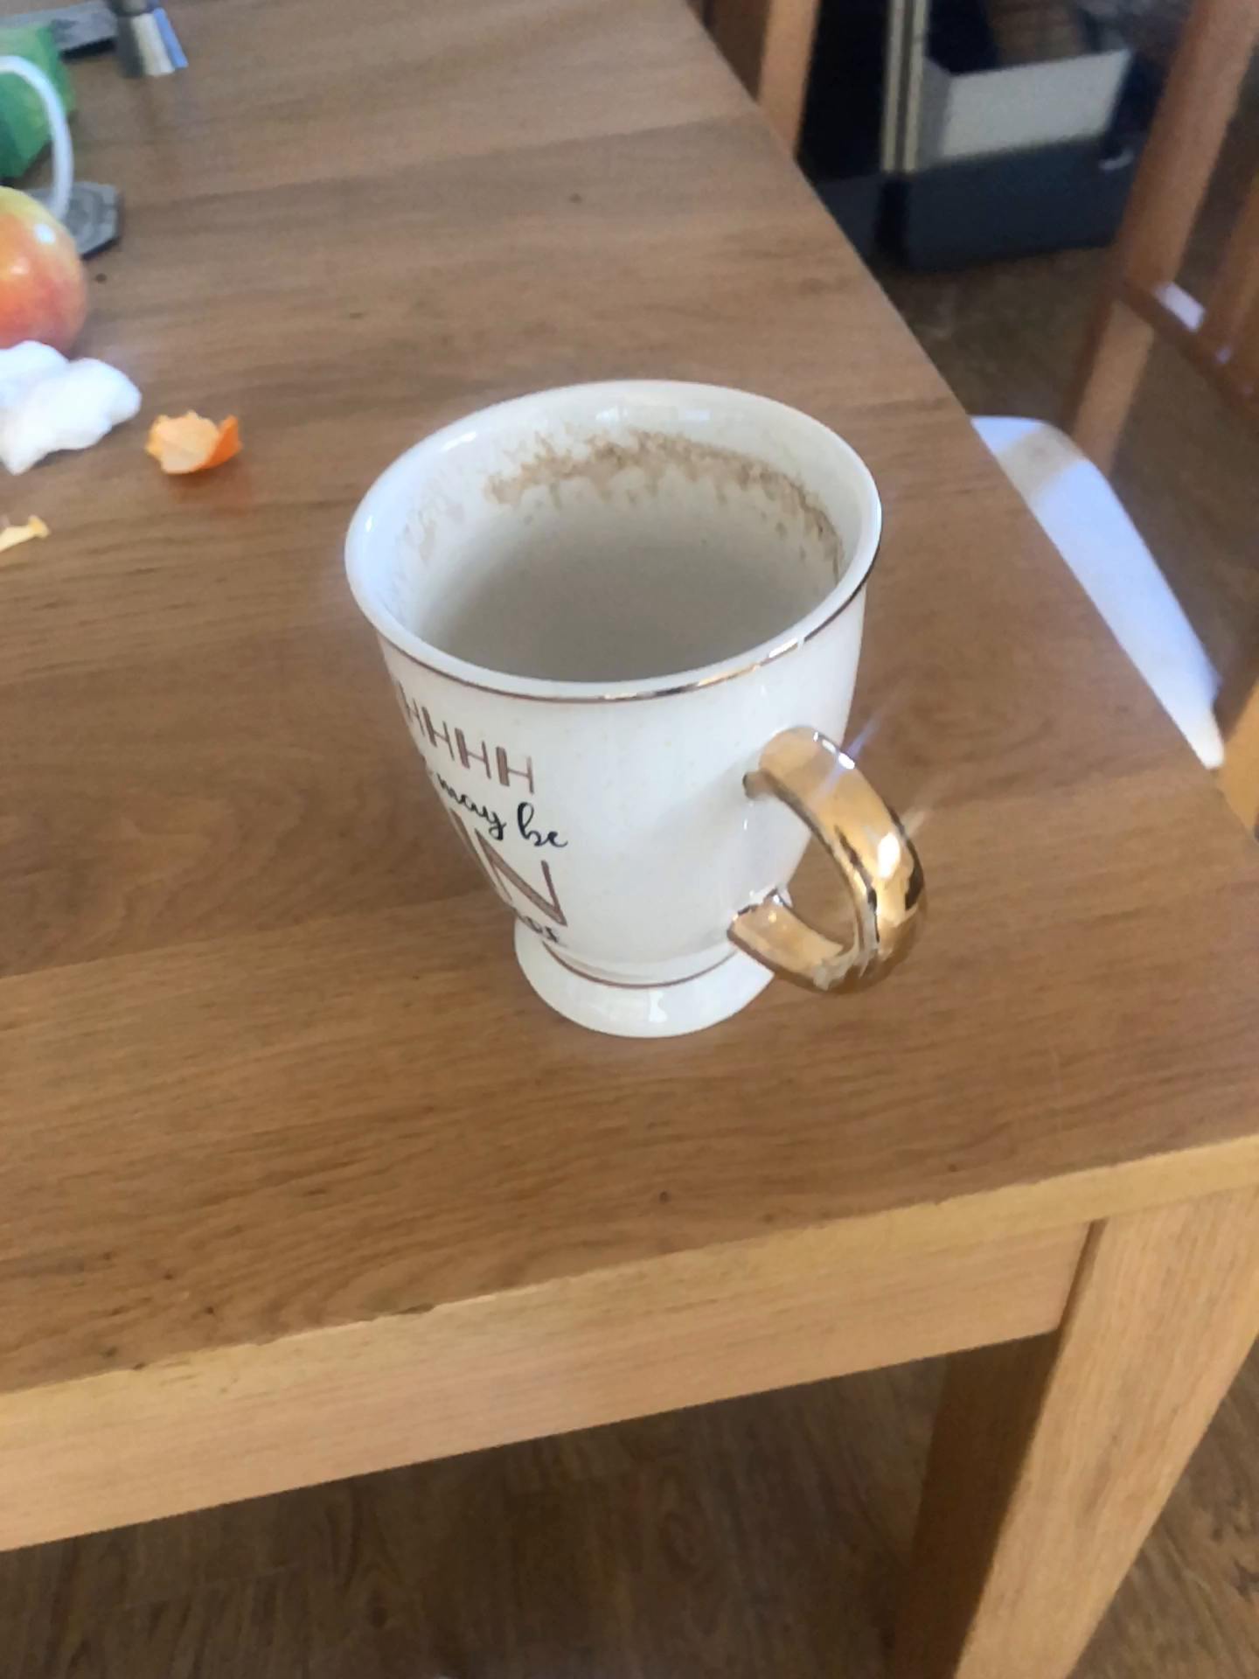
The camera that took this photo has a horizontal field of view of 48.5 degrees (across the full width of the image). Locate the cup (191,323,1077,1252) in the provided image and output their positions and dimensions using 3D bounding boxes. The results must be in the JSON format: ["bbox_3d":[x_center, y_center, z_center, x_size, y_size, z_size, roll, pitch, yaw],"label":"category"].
[{"bbox_3d":[-0.001,-0.018,0.303,0.109,0.111,0.135,-30,51,-21],"label":"cup"}]
